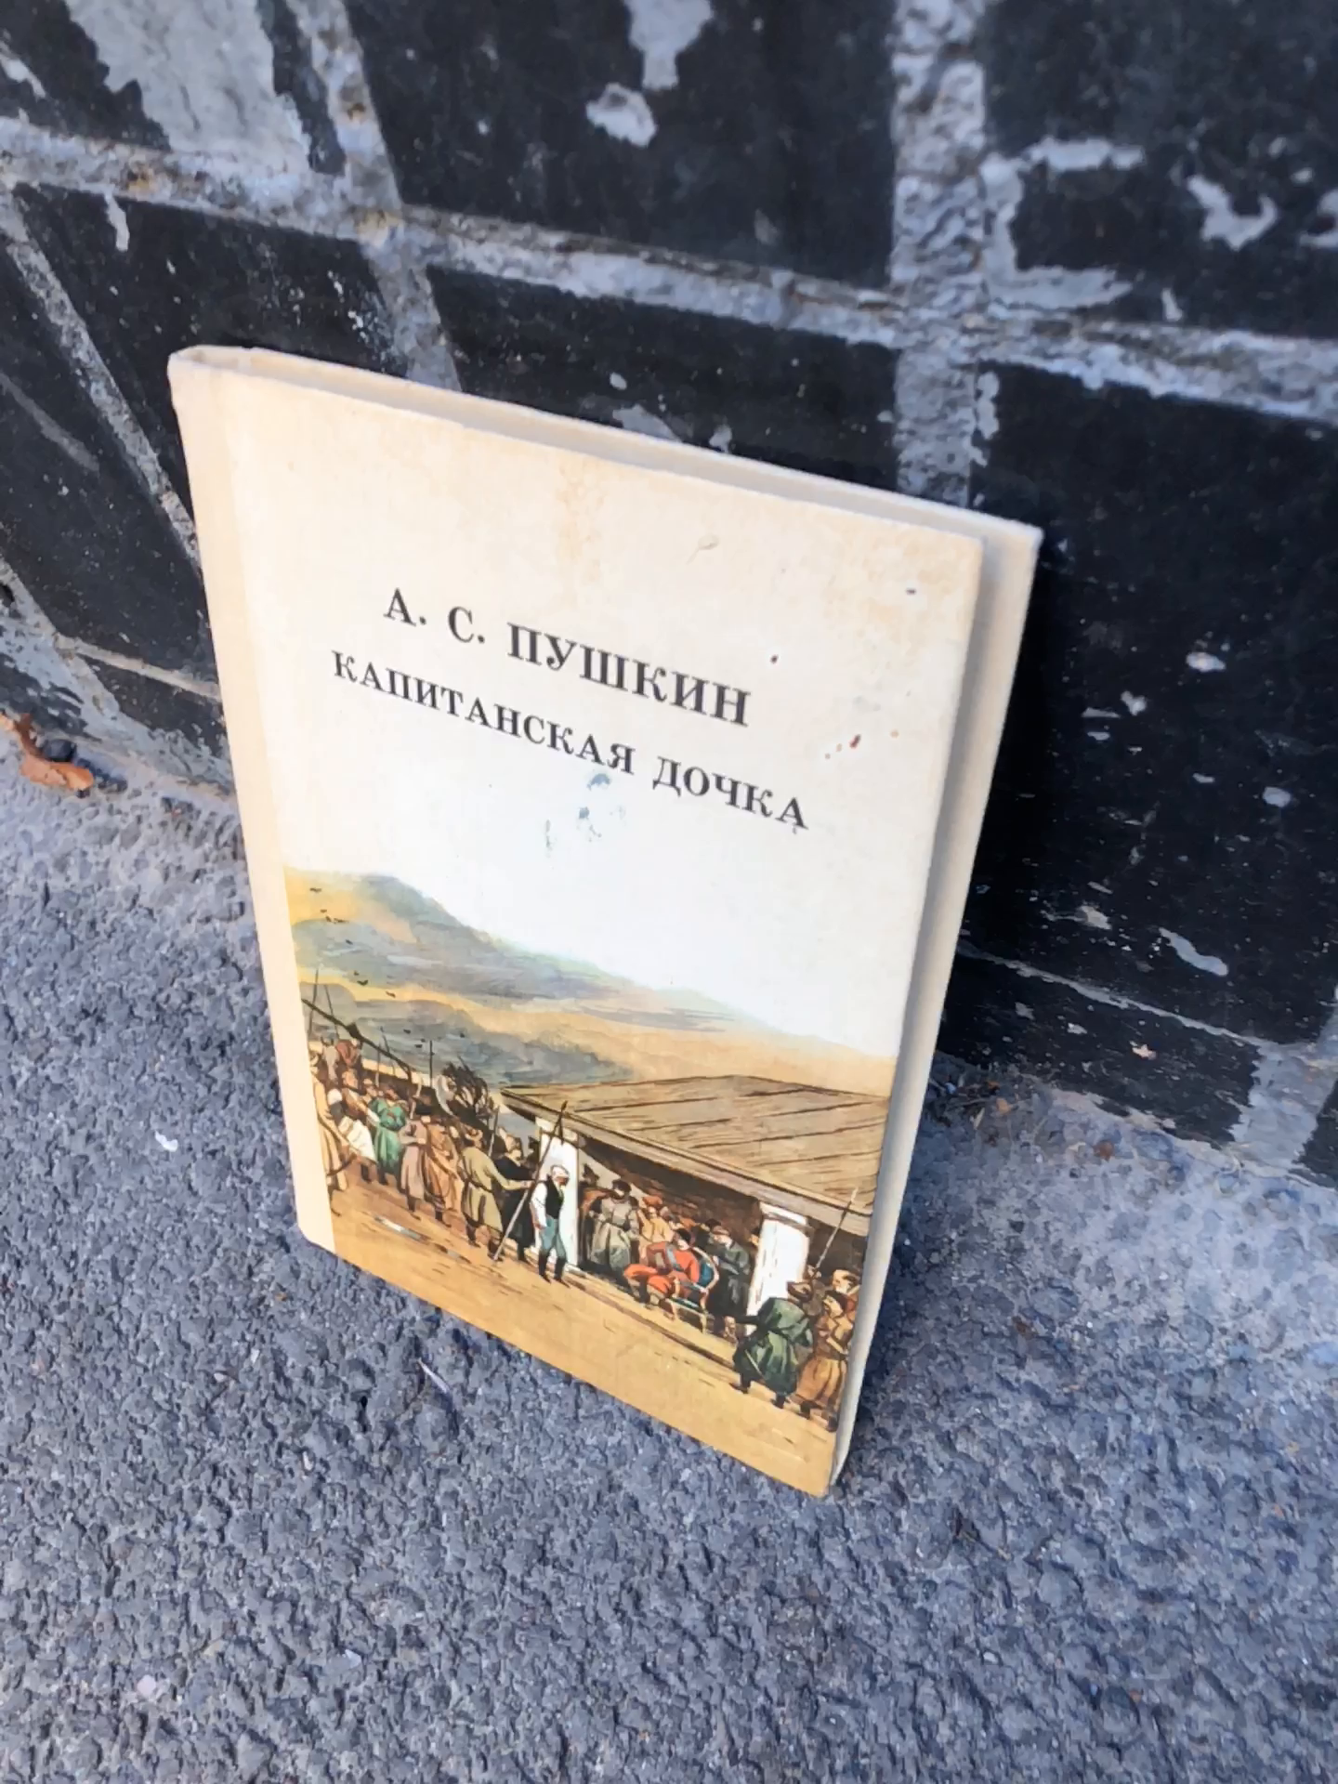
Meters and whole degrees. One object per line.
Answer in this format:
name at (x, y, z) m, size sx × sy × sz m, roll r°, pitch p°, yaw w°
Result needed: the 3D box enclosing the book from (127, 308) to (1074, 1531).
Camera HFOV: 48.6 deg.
book at (-0.022, 0.018, 0.278) m, size 0.145 × 0.215 × 0.023 m, roll 20°, pitch 40°, yaw 20°
